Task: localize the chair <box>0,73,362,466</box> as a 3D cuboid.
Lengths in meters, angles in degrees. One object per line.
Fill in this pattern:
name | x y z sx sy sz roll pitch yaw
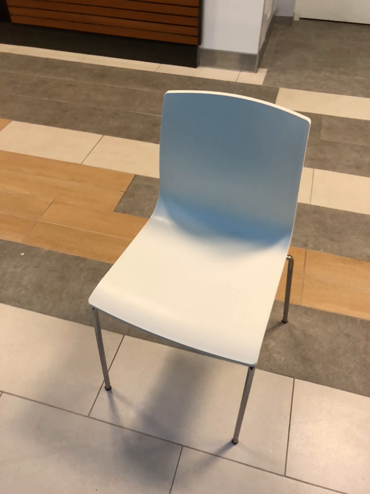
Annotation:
chair | 0.035 0.075 1.085 0.580 0.776 0.553 15 48 14
